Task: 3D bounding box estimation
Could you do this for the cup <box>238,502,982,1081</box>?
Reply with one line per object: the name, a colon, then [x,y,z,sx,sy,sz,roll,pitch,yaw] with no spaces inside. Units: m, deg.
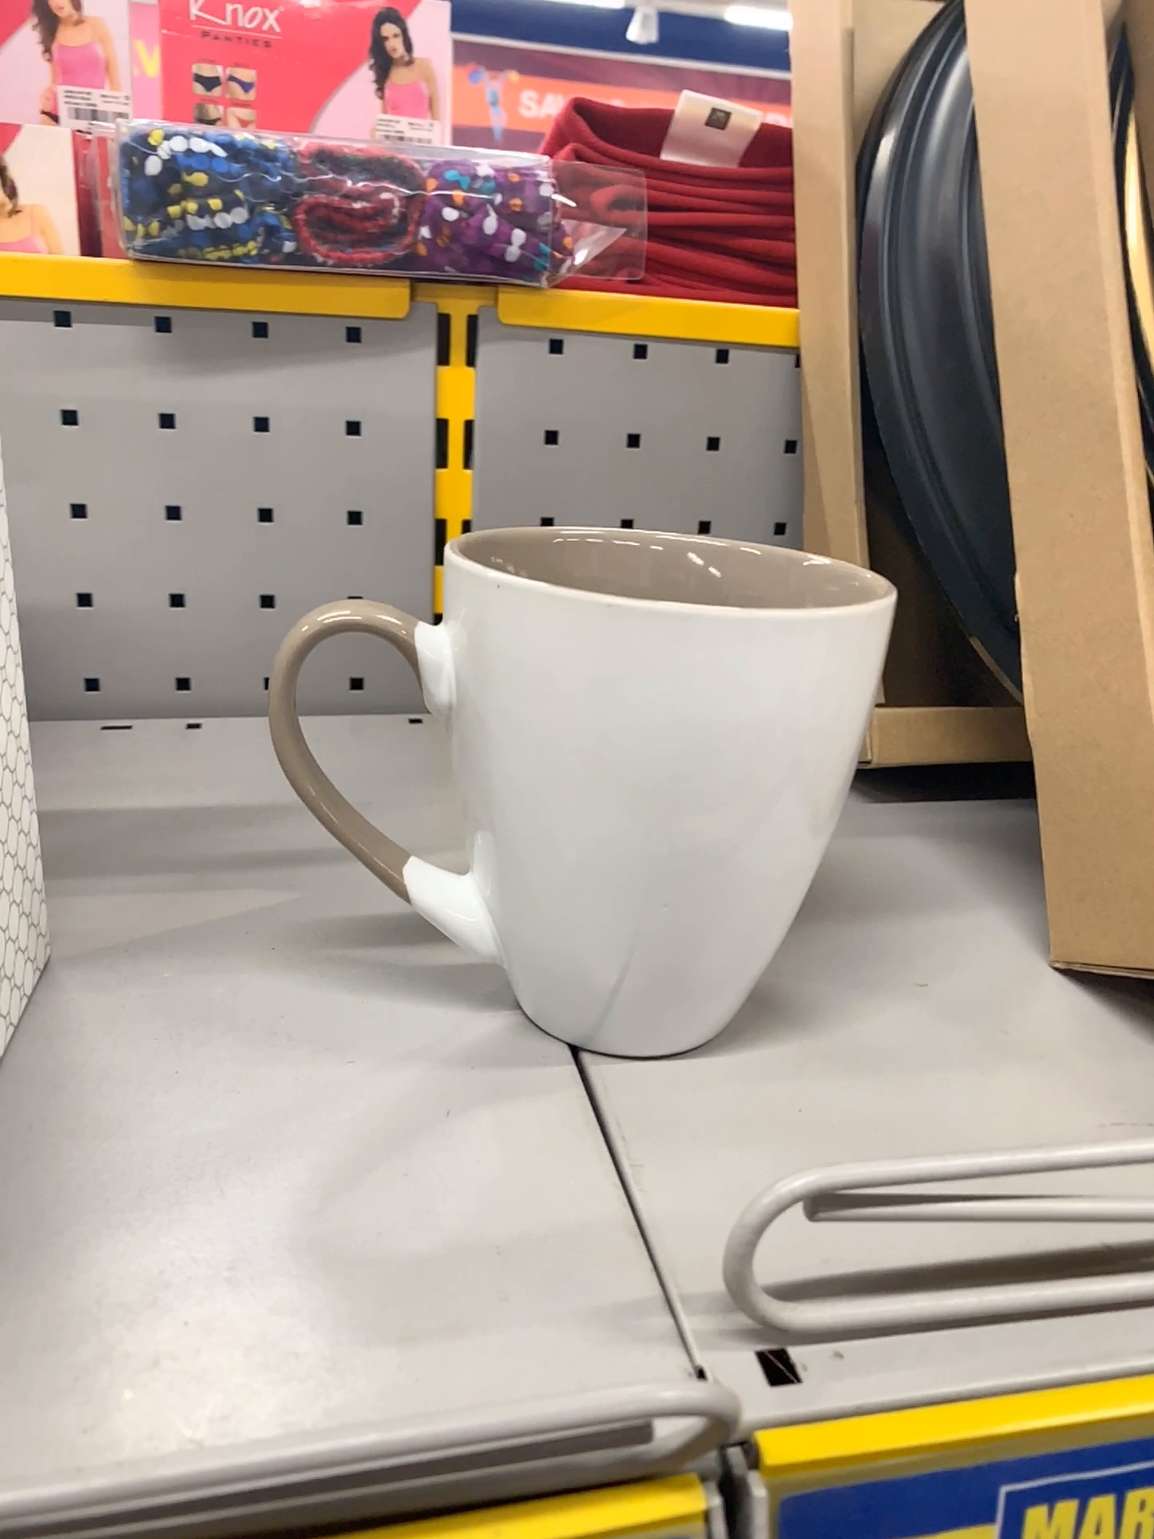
cup: [-0.002,-0.003,0.282,0.140,0.100,0.100,0,21,-11]
